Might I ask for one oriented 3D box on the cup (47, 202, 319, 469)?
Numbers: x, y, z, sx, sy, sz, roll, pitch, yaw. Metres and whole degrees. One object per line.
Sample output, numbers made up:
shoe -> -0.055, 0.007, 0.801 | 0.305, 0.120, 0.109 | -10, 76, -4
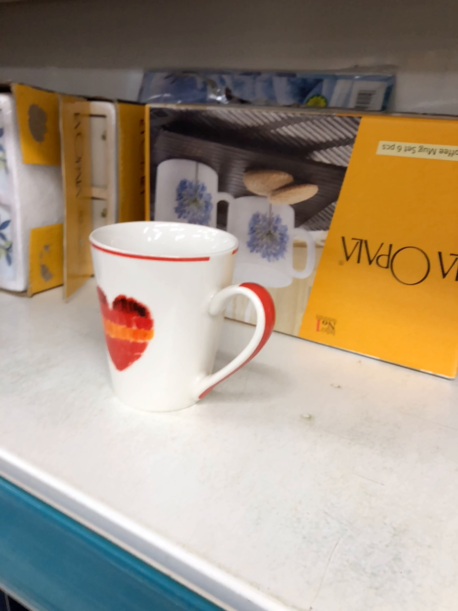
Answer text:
cup -> -0.028, 0.004, 0.285 | 0.120, 0.099, 0.080 | 18, 24, 33
